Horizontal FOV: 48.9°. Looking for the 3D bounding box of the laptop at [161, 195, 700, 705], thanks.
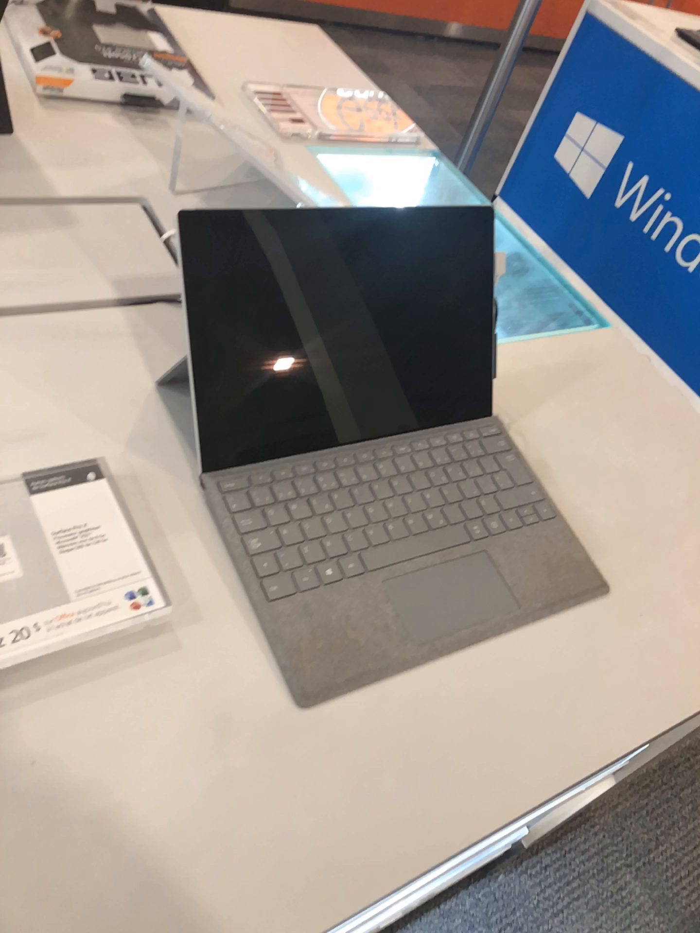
[{"bbox_3d":[0.048,-0.041,0.572,0.279,0.147,0.297,-11,58,-30],"label":"laptop"}]
